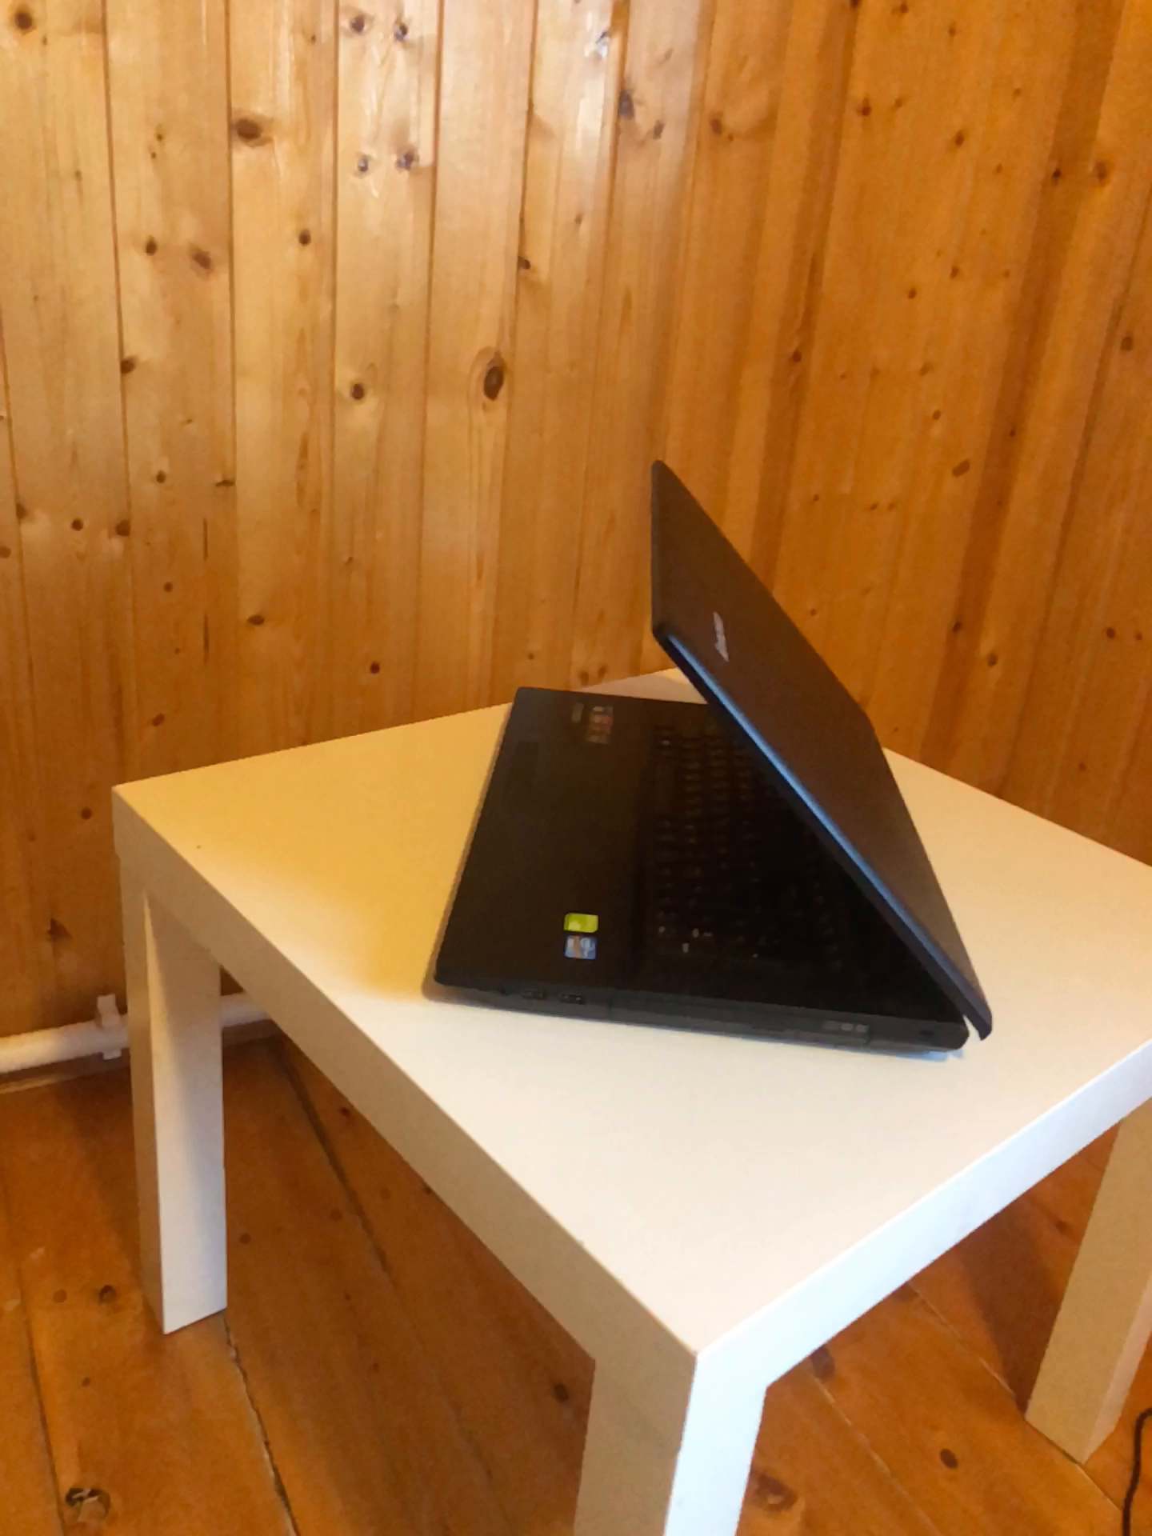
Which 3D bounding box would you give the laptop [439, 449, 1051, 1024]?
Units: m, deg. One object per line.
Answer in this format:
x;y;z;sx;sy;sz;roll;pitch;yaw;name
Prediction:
0.083;-0.052;0.764;0.260;0.179;0.391;6;25;1;laptop
